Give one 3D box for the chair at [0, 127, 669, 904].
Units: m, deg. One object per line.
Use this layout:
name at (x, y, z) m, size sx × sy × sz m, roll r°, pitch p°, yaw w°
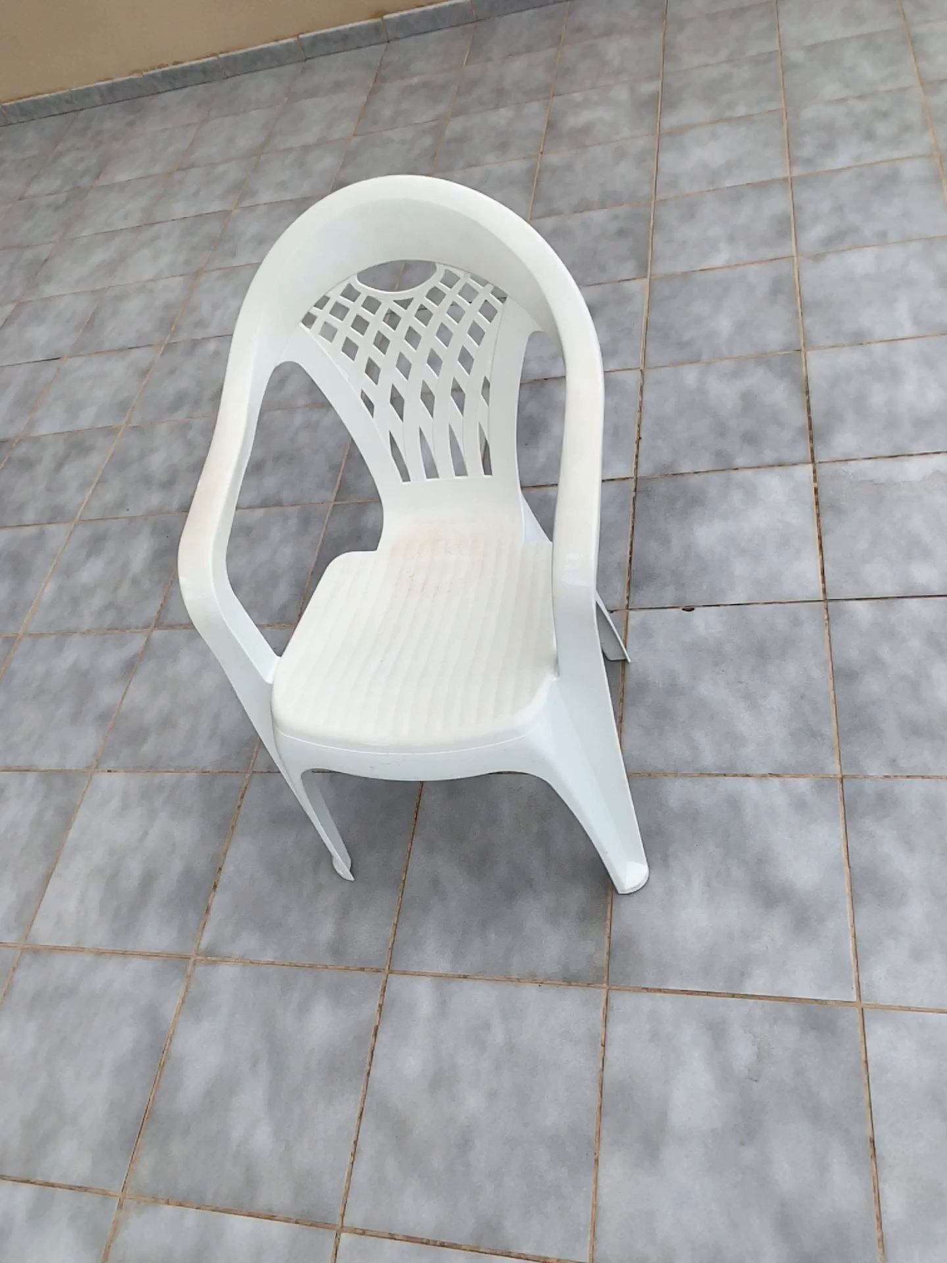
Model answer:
chair at (-0.050, -0.087, 1.336) m, size 0.544 × 0.823 × 0.611 m, roll -2°, pitch 53°, yaw 16°
